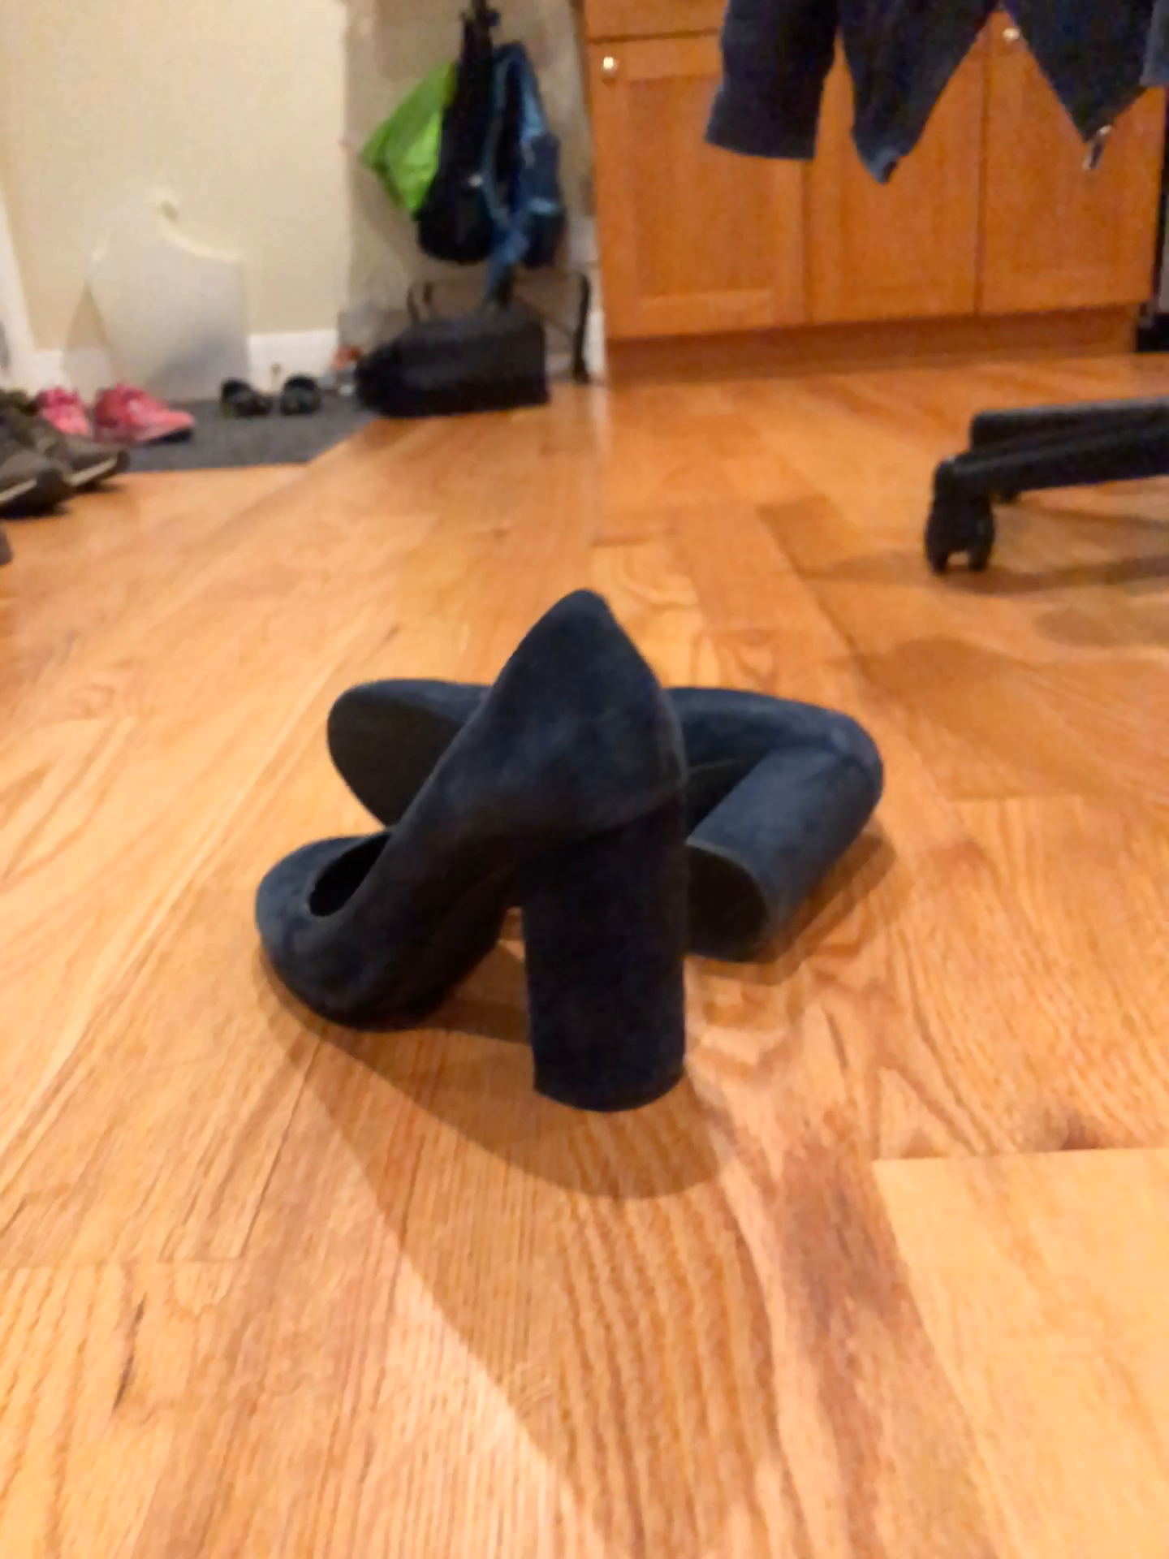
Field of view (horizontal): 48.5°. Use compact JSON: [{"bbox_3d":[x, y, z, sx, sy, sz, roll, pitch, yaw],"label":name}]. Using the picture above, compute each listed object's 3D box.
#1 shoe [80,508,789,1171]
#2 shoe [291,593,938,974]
[{"bbox_3d":[-0.053,0.000,0.415,0.226,0.146,0.080,14,27,40],"label":"shoe"},{"bbox_3d":[0.018,-0.012,0.517,0.204,0.080,0.153,8,24,28],"label":"shoe"}]
